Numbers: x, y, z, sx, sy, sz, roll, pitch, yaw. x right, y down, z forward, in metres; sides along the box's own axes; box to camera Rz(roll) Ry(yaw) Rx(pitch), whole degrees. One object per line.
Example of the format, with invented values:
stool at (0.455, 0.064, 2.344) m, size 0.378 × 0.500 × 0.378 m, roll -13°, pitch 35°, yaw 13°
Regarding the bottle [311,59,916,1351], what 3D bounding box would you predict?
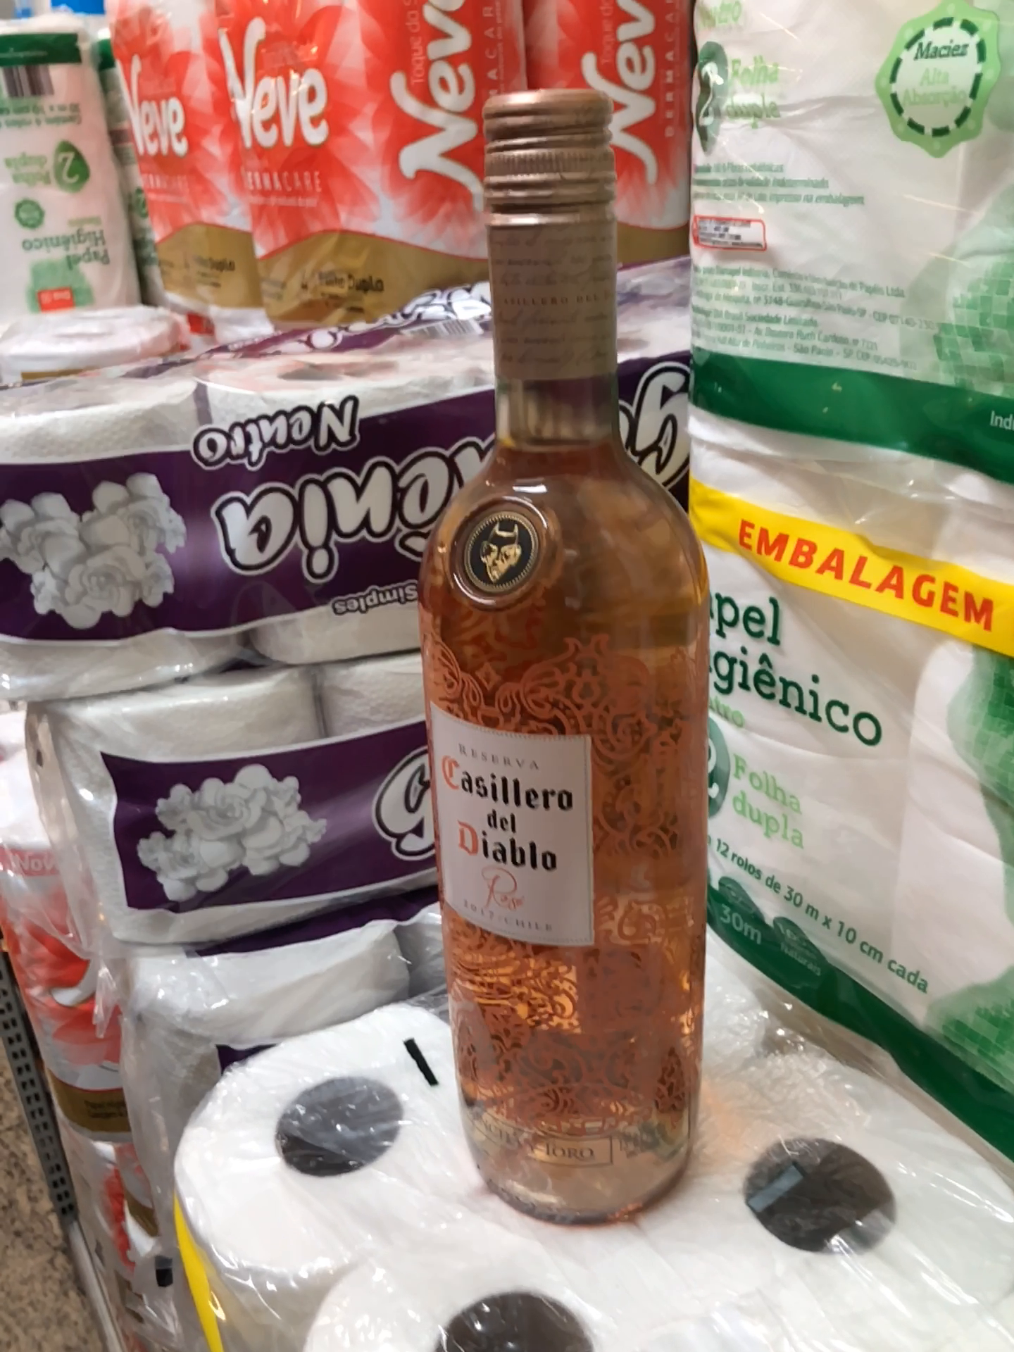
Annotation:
bottle at (0.033, 0.027, 0.282) m, size 0.090 × 0.308 × 0.080 m, roll 13°, pitch 29°, yaw 37°
